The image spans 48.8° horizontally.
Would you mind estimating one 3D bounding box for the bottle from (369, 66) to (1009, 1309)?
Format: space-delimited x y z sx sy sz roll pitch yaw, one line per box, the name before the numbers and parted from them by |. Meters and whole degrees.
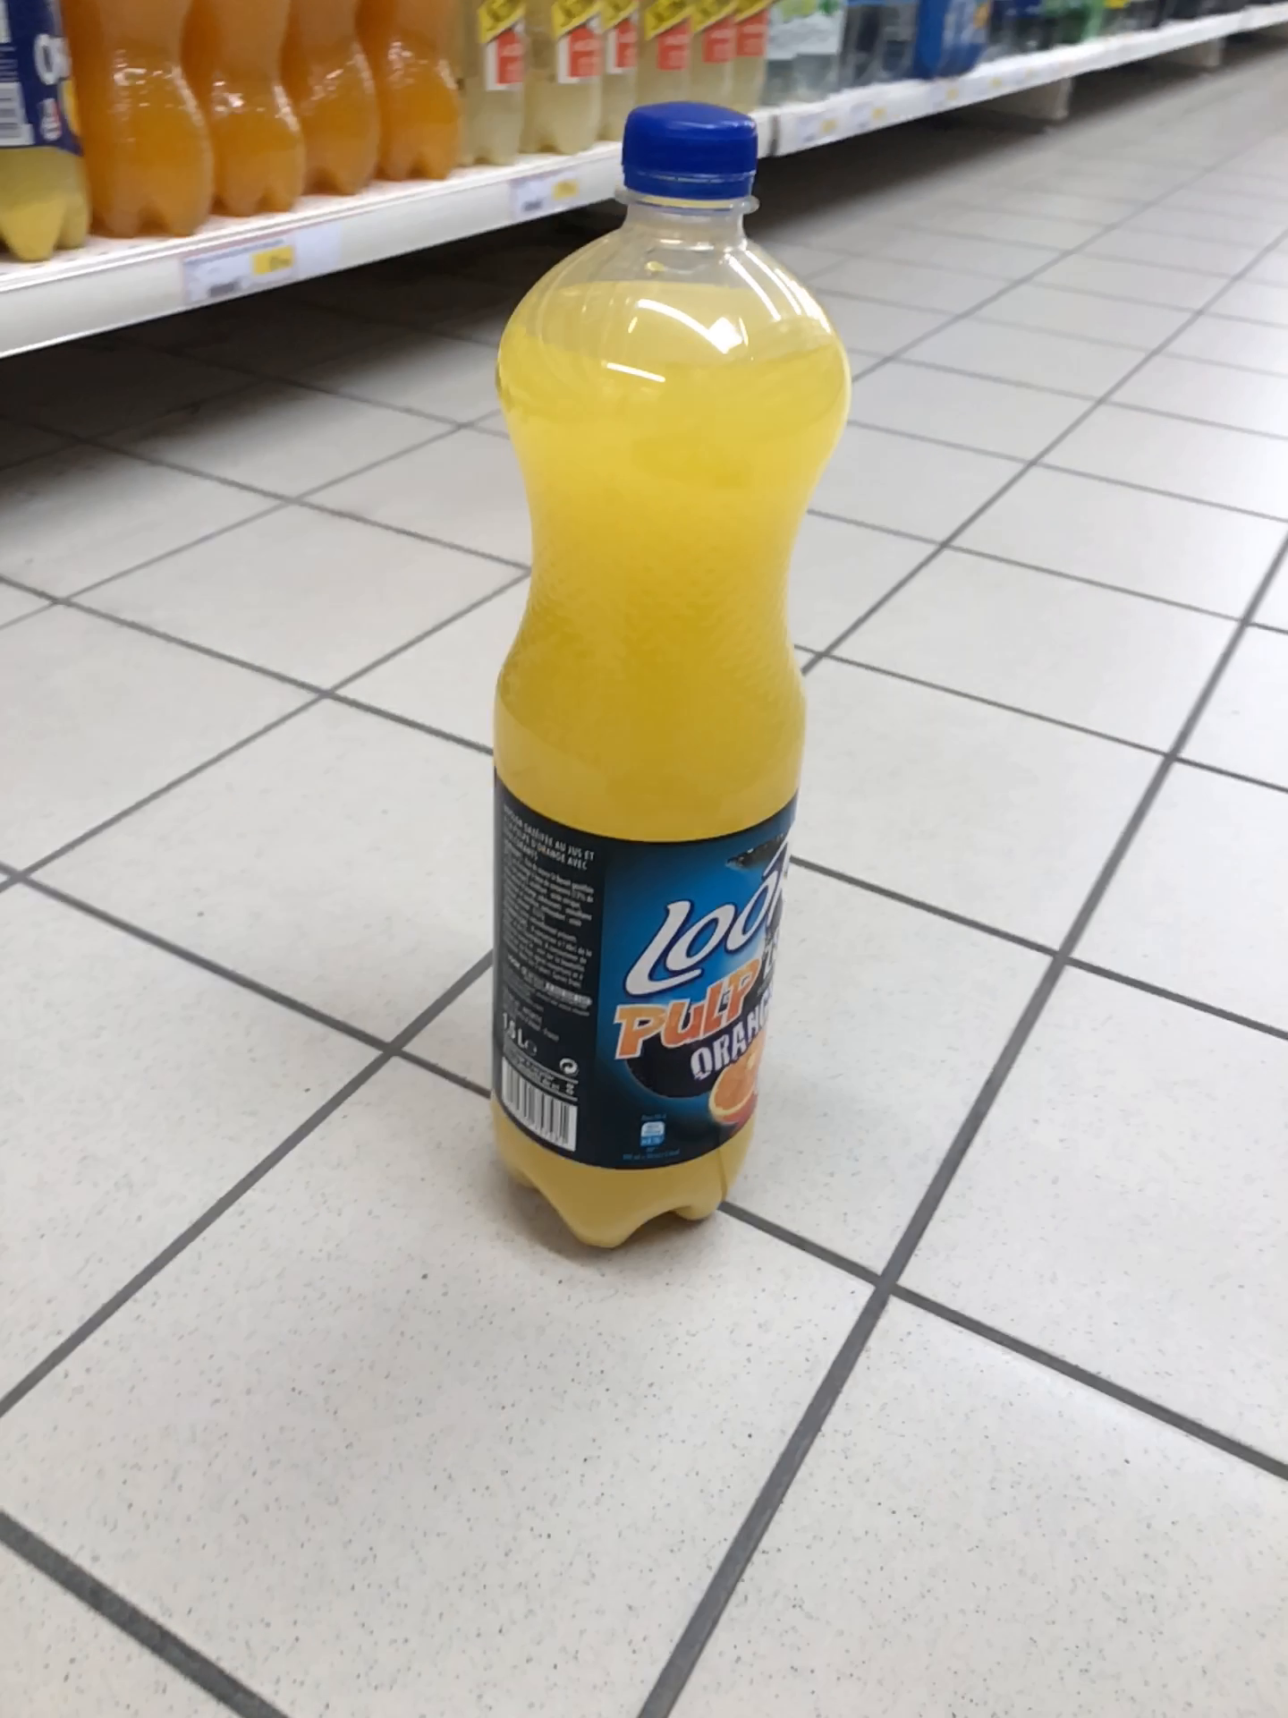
bottle | 0.001 -0.036 0.400 0.101 0.318 0.100 2 34 -2
